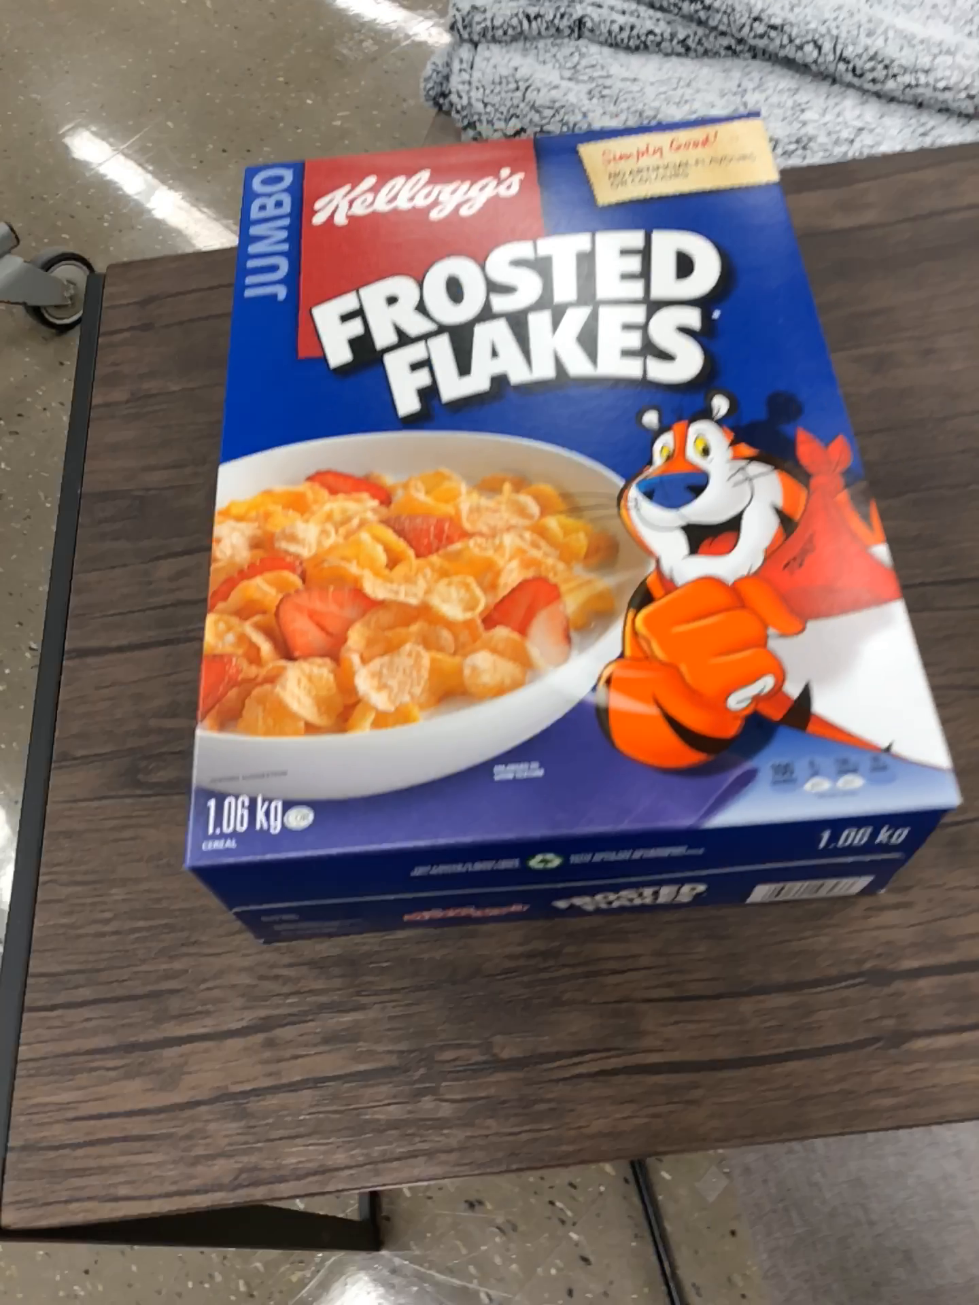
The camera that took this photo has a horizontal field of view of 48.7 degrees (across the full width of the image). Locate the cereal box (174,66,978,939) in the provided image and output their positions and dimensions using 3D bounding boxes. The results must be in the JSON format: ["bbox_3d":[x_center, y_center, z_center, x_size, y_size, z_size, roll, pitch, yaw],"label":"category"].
[{"bbox_3d":[0.024,-0.083,0.463,0.250,0.100,0.371,-4,59,3],"label":"cereal box"}]
